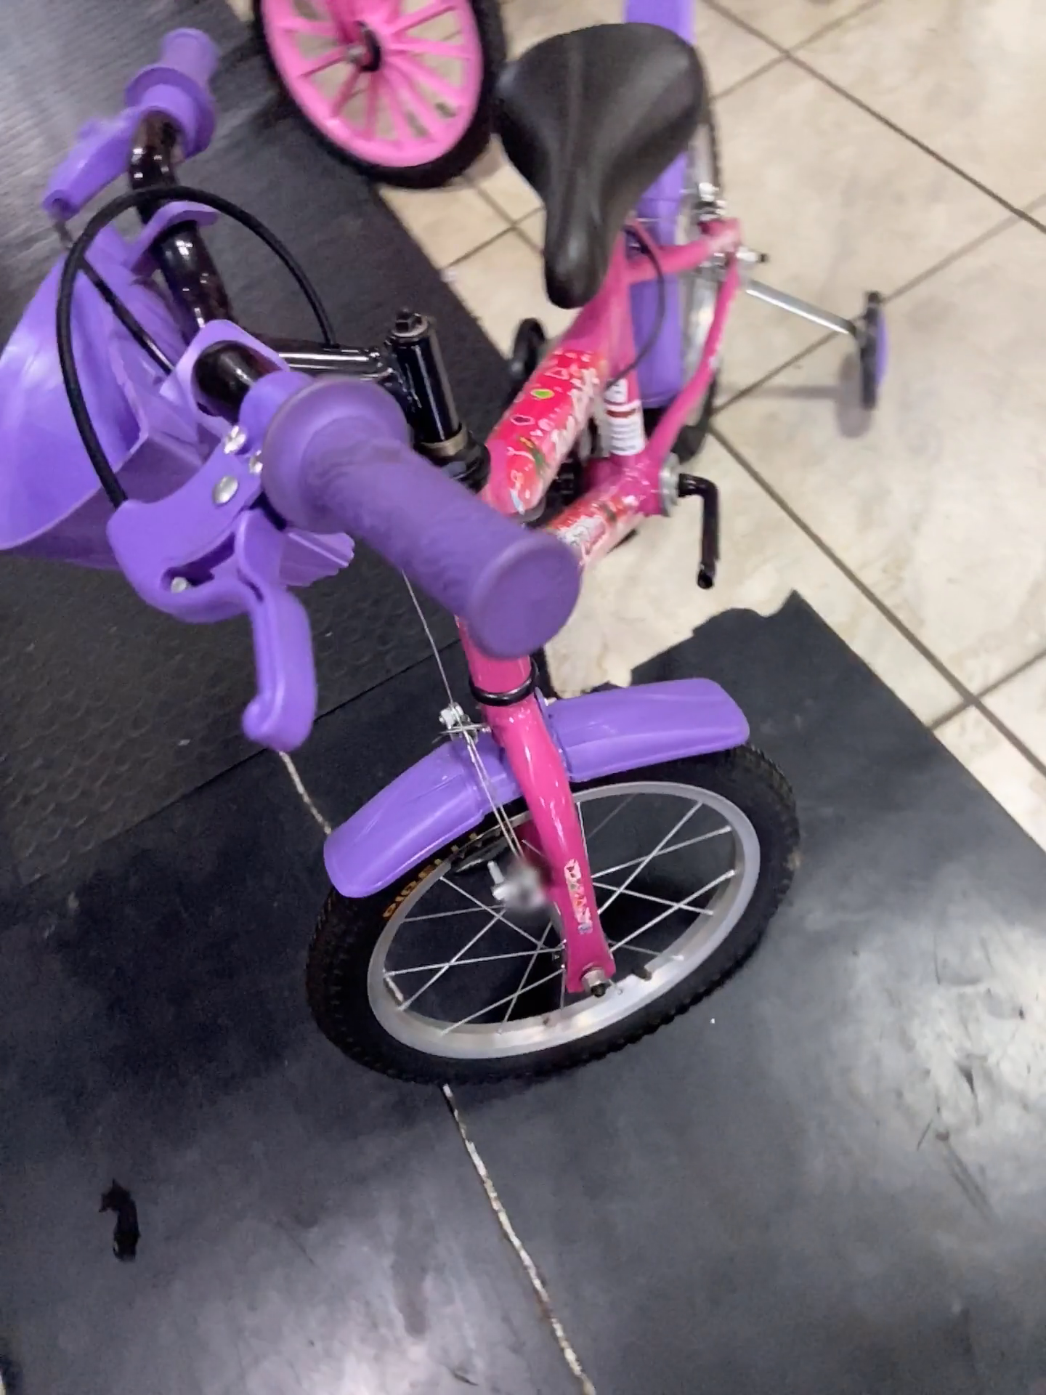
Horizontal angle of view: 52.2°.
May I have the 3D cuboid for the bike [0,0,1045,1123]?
[{"bbox_3d":[-0.061,-0.223,0.817,0.546,0.704,0.923,11,70,21],"label":"bike"}]
